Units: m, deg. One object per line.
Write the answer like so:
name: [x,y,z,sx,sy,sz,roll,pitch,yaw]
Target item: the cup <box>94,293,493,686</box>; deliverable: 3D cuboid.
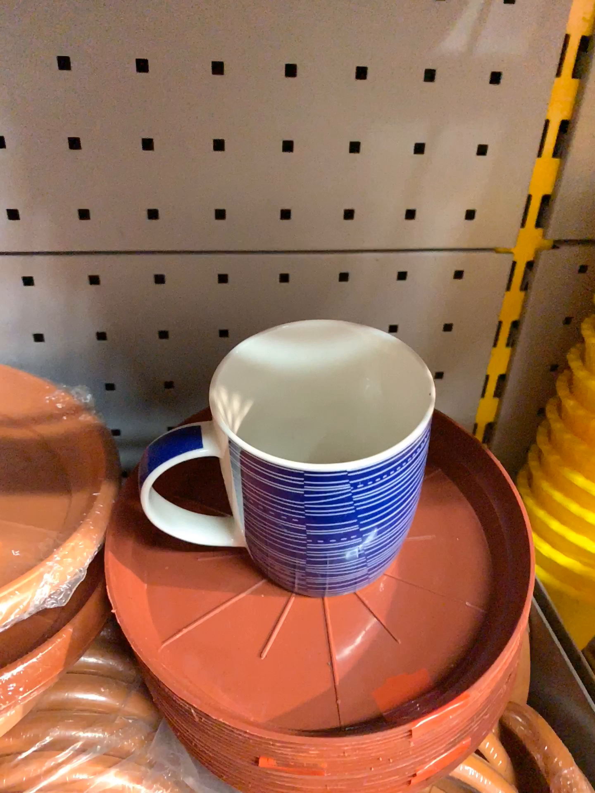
cup: [-0.007,0.034,0.273,0.130,0.100,0.100,-14,40,-15]
